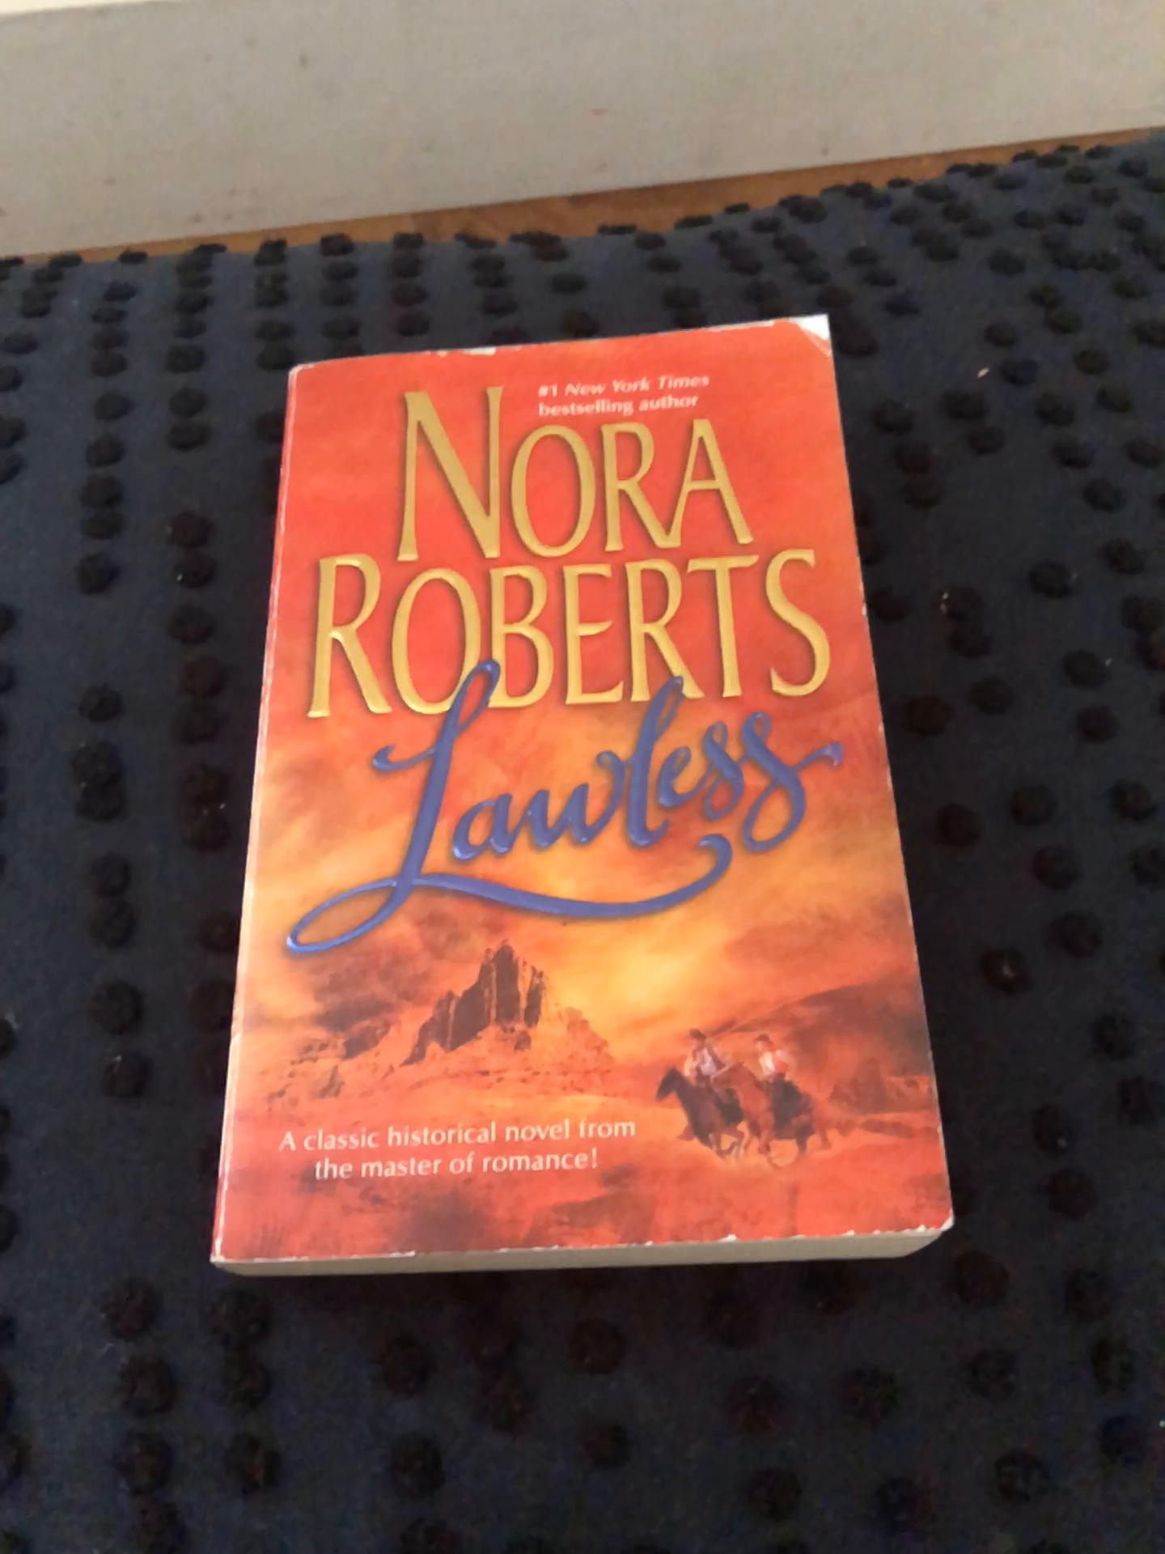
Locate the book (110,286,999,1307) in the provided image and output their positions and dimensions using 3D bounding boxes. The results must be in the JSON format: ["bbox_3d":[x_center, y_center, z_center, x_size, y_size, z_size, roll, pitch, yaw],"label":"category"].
[{"bbox_3d":[-0.007,-0.006,0.233,0.120,0.040,0.181,0,63,-4],"label":"book"}]
